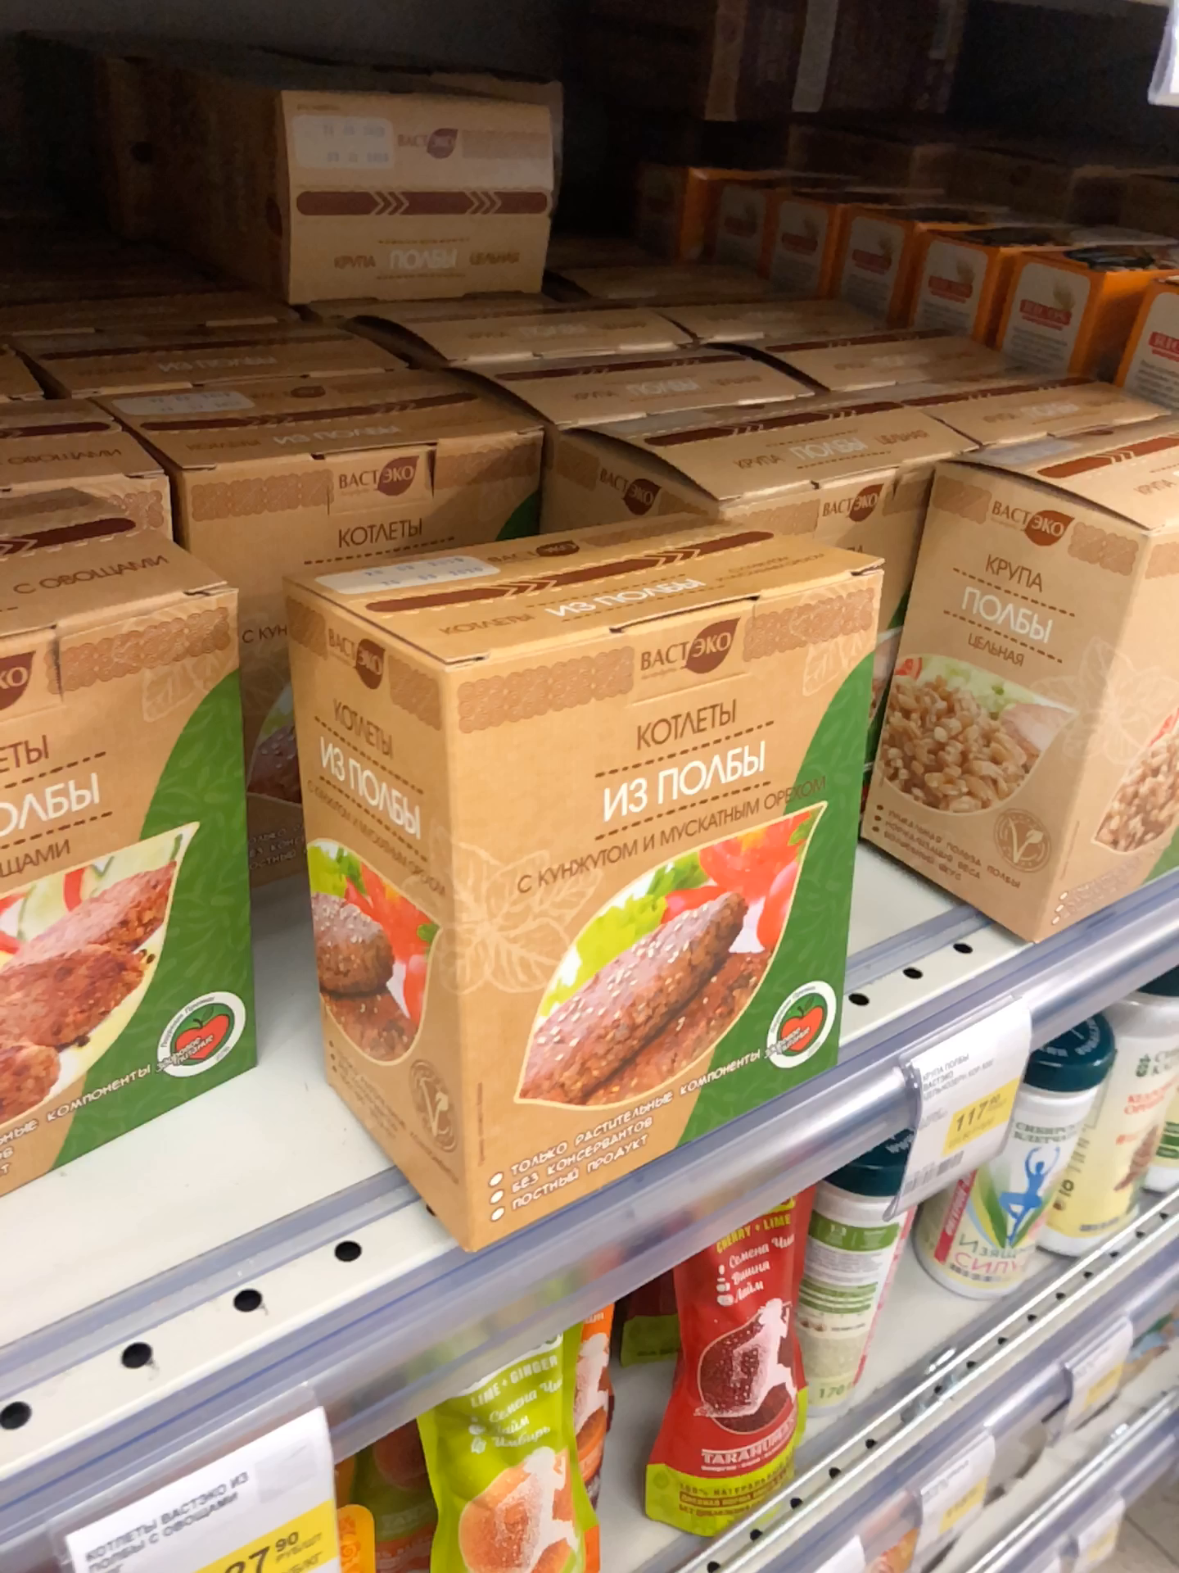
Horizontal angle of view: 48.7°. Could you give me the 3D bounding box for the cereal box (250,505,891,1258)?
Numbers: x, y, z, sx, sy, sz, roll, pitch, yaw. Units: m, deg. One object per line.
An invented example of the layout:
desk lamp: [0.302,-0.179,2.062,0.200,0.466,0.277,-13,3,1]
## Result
cereal box: [-0.004,0.013,0.332,0.120,0.139,0.090,-17,28,-34]
